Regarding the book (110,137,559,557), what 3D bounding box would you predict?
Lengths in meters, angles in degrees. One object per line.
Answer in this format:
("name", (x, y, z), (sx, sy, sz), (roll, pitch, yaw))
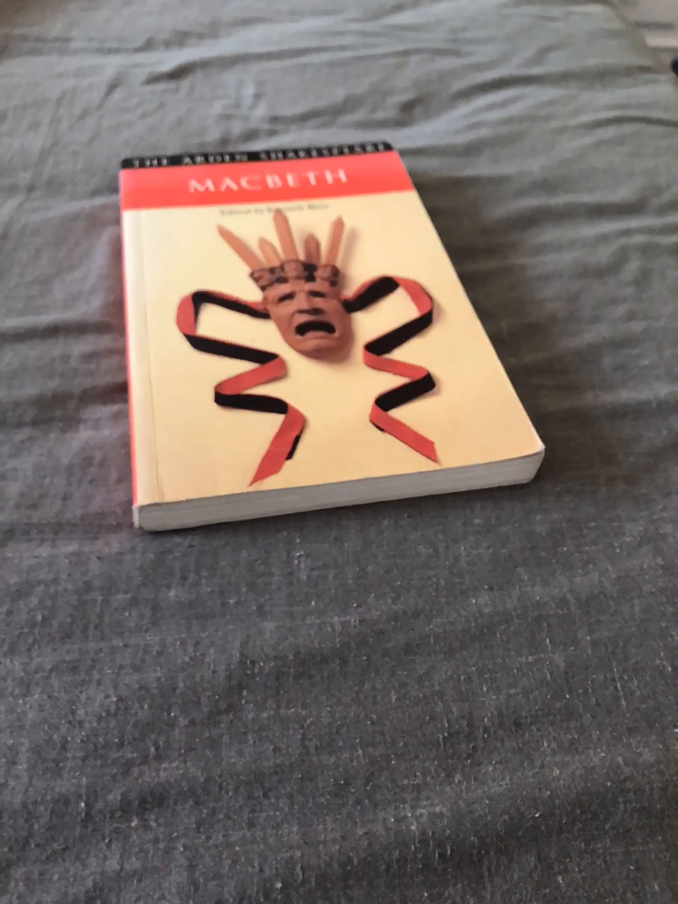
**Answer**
("book", (-0.018, -0.059, 0.290), (0.130, 0.020, 0.201), (-8, 49, -8))
